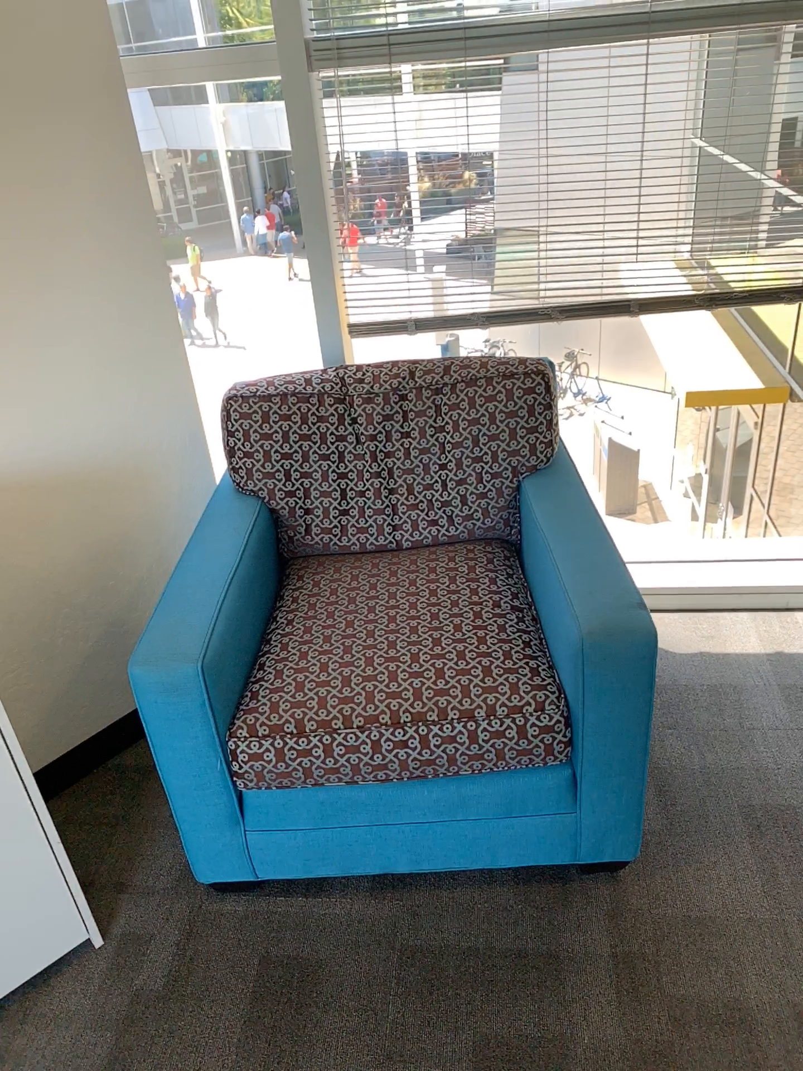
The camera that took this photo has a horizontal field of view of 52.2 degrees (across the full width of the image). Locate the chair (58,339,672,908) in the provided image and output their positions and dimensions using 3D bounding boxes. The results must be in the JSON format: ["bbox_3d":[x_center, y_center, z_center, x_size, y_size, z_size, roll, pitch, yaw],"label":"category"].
[{"bbox_3d":[-0.031,0.138,1.832,0.930,0.805,0.916,-4,31,2],"label":"chair"}]
